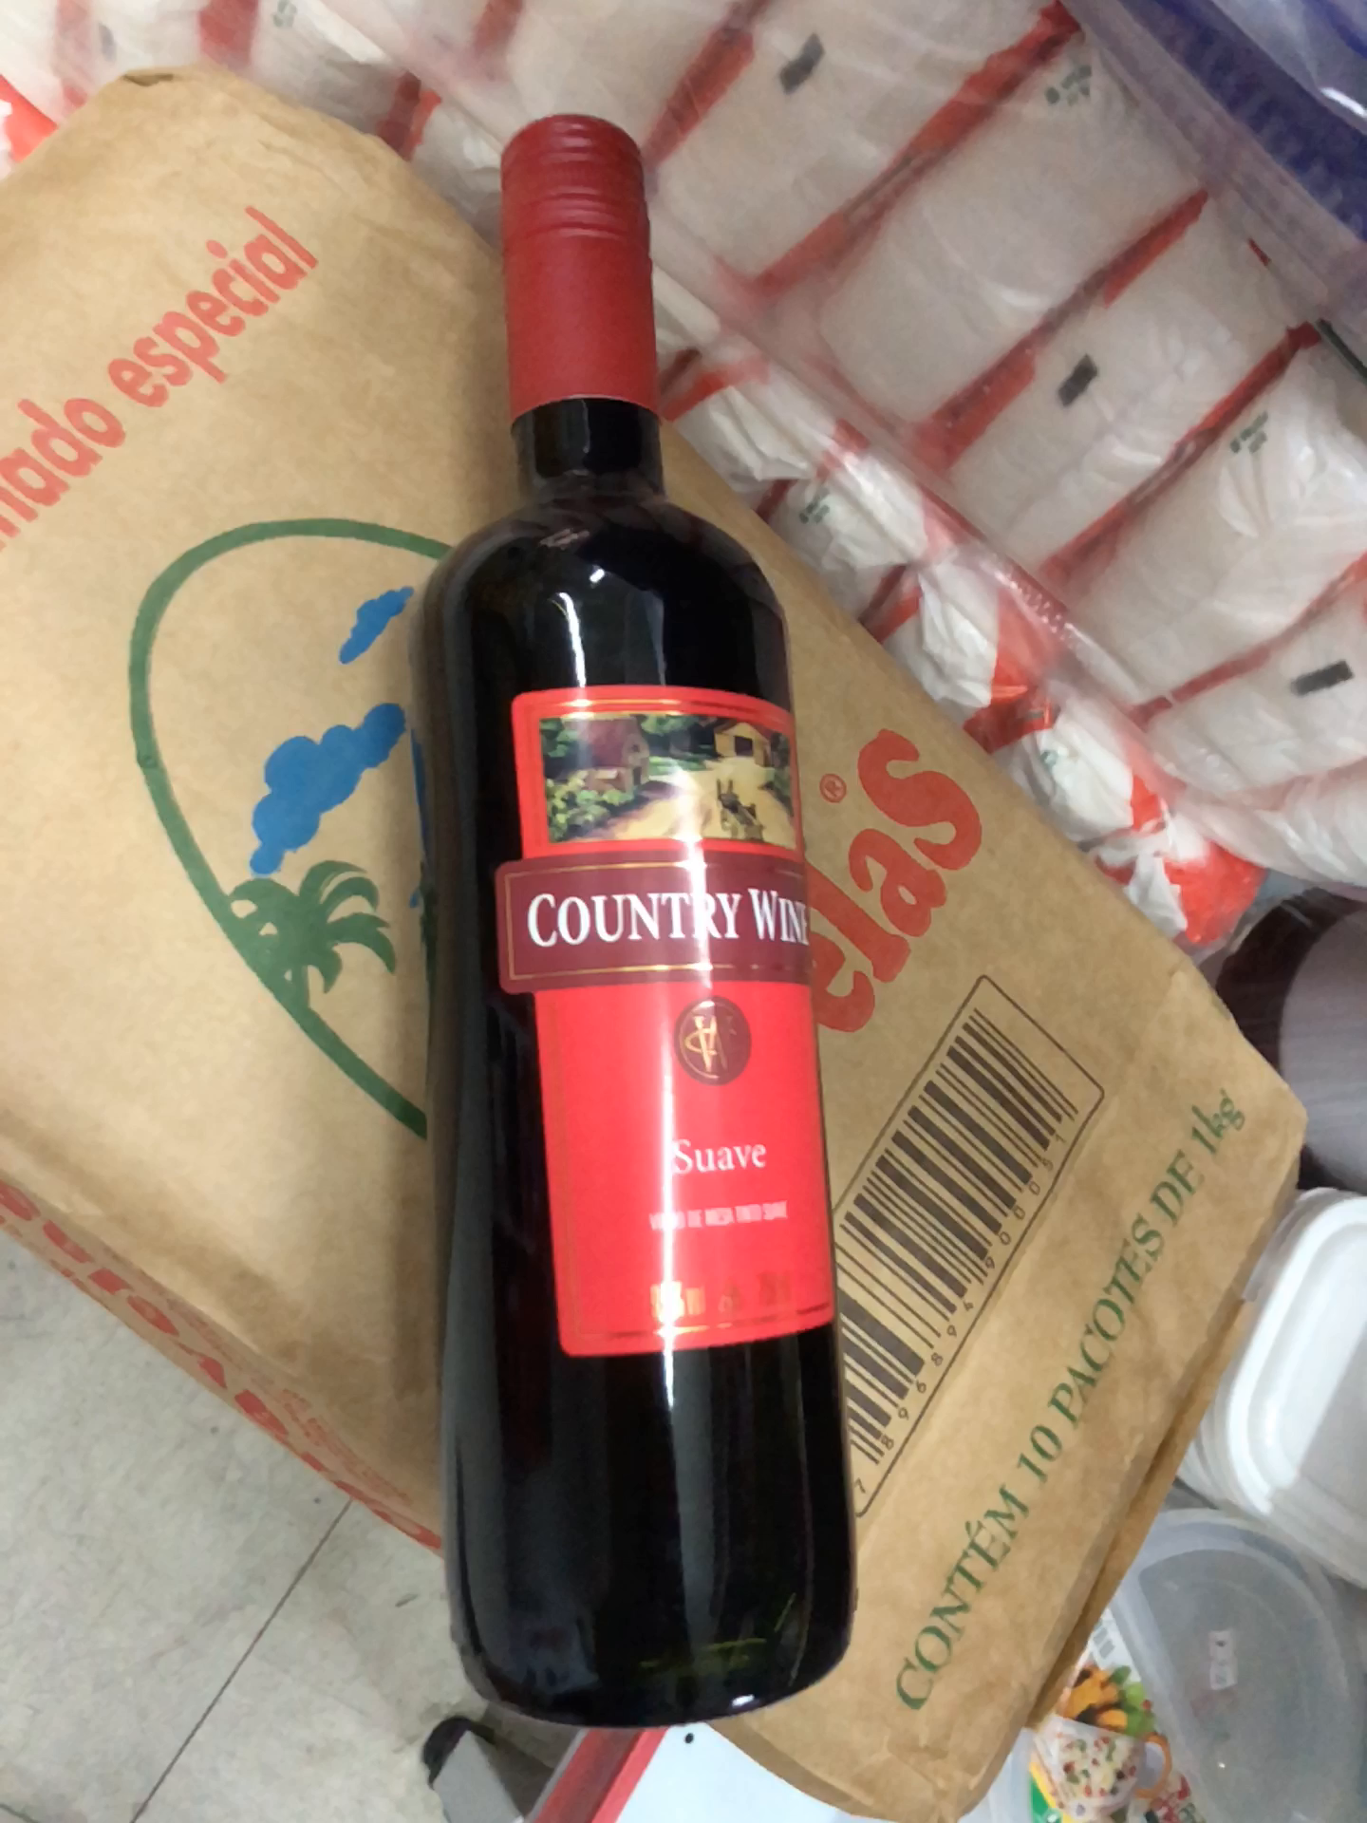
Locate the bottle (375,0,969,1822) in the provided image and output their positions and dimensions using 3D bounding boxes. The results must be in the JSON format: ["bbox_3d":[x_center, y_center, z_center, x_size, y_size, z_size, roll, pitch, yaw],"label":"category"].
[{"bbox_3d":[-0.006,-0.007,0.274,0.080,0.060,0.290,-1,87,-22],"label":"bottle"}]
